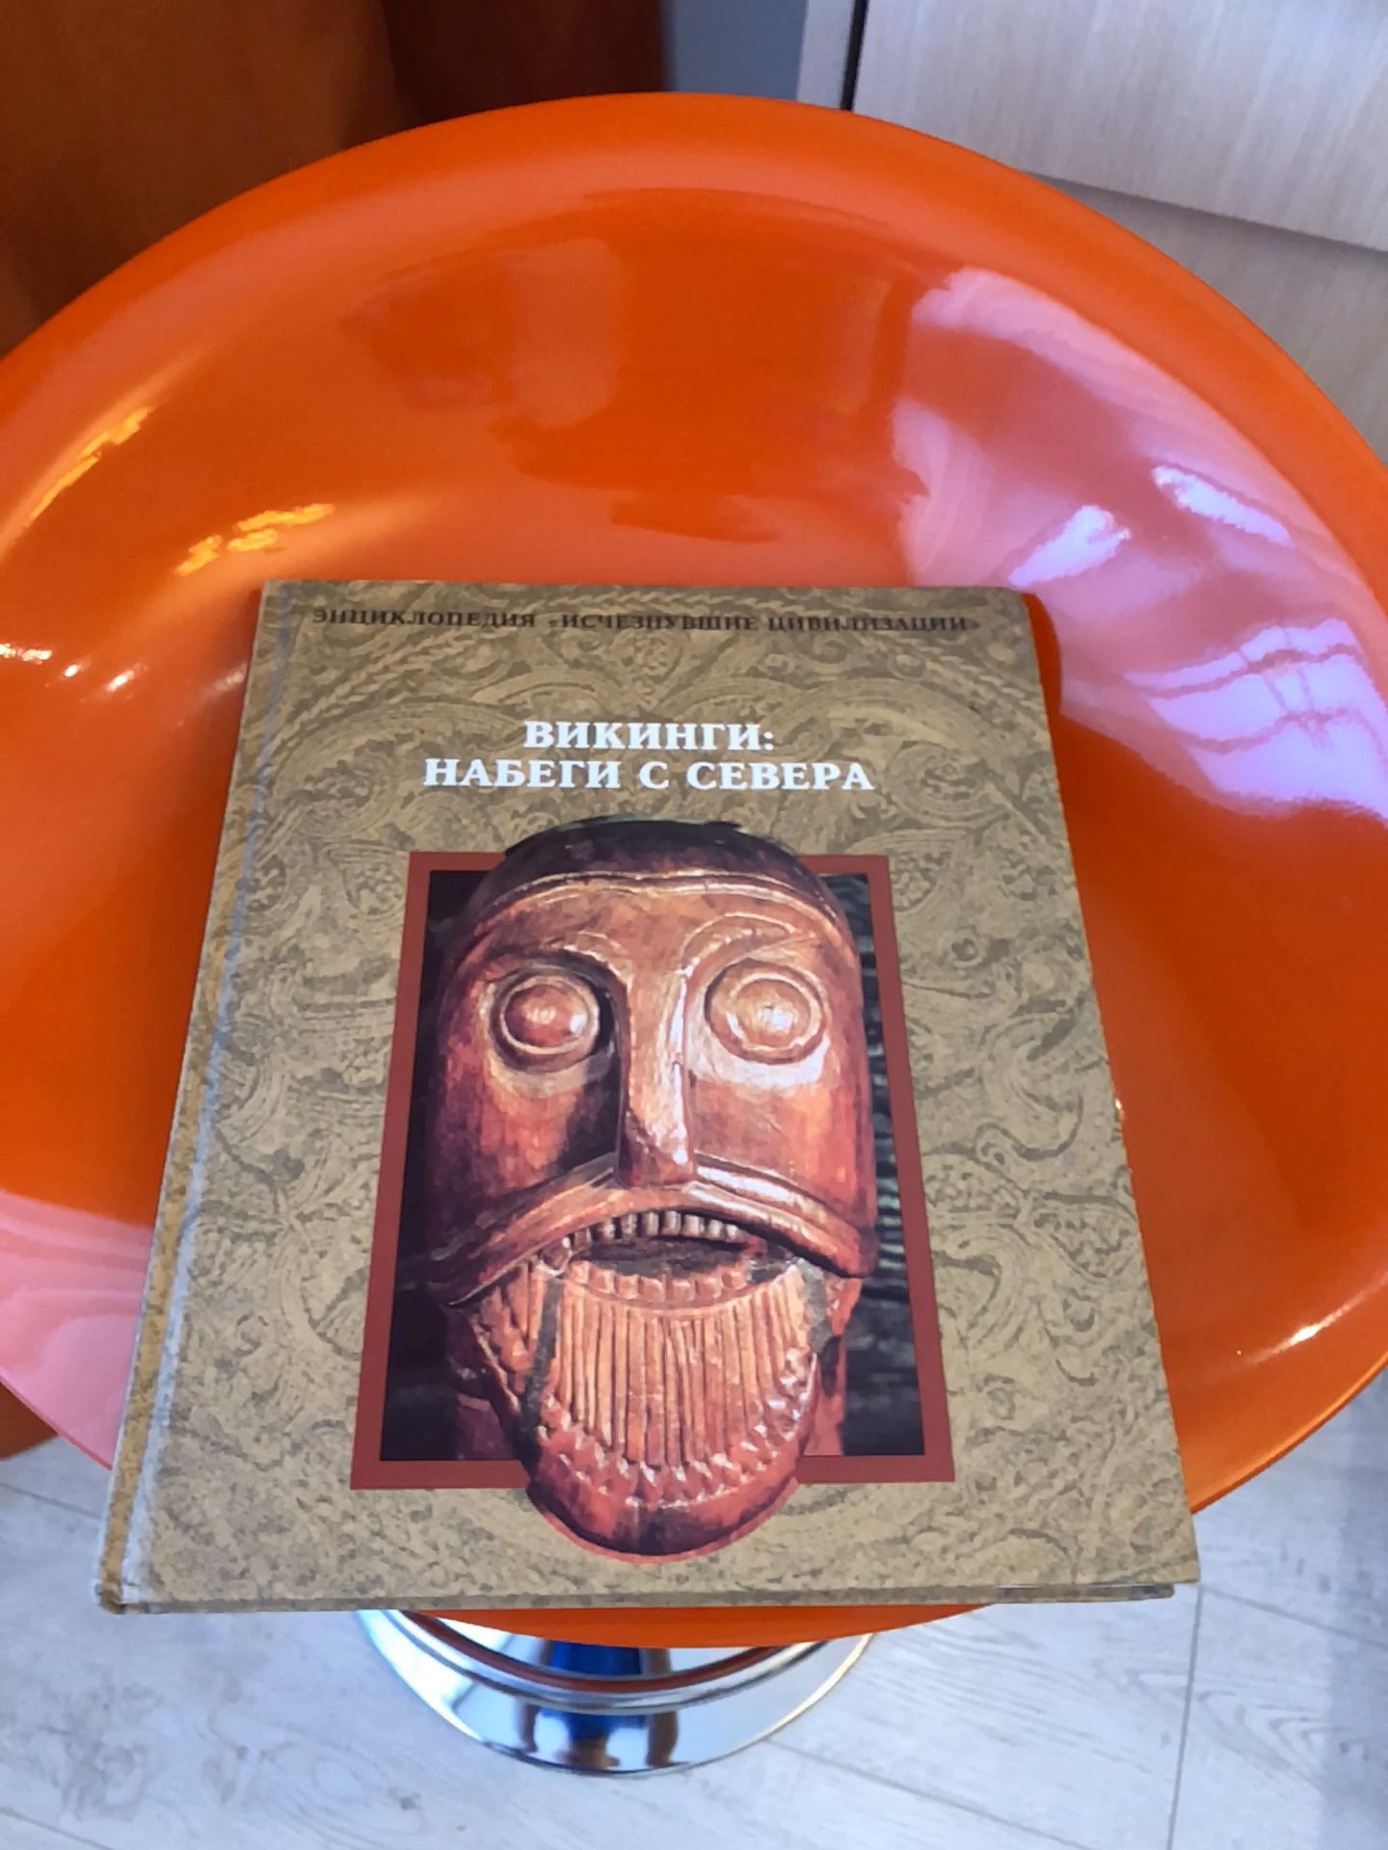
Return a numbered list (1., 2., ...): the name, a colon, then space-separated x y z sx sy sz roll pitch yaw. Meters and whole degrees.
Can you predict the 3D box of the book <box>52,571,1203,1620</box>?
1. book: -0.012 0.022 0.366 0.215 0.022 0.261 1 58 -2
